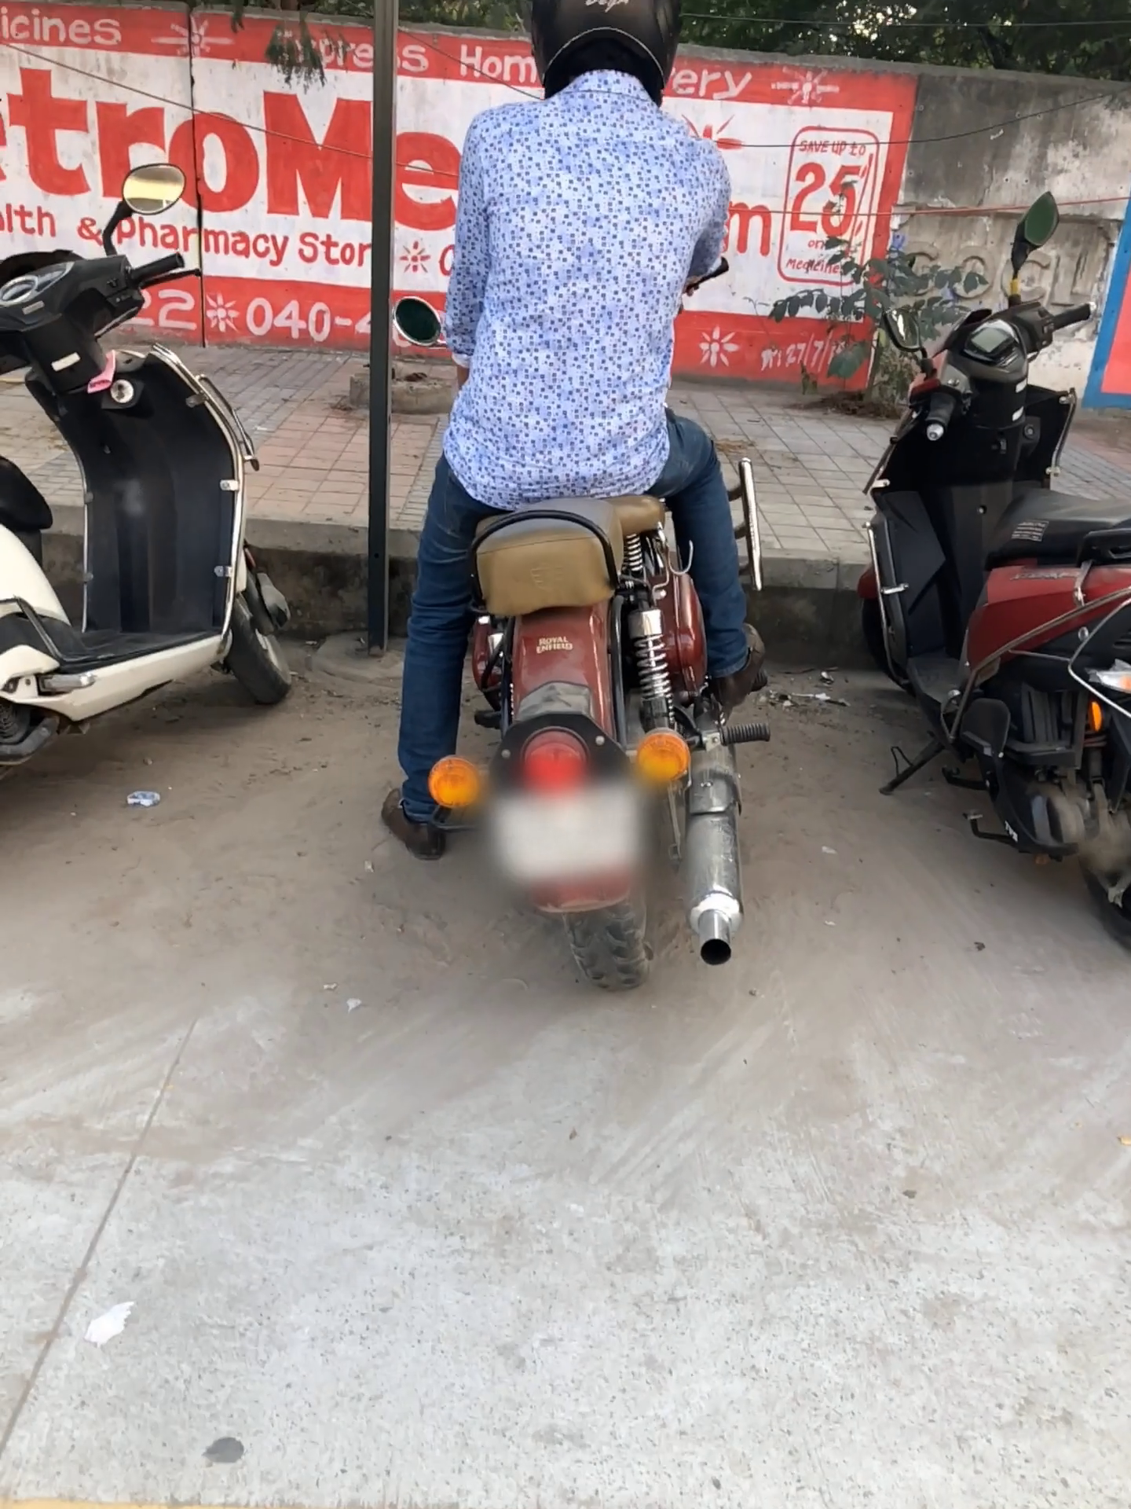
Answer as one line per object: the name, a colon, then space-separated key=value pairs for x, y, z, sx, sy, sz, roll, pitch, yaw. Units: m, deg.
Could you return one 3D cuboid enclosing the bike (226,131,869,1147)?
bike: x=-0.051 y=-0.401 z=2.423 sx=0.792 sy=1.255 sz=1.559 roll=4 pitch=29 yaw=0
